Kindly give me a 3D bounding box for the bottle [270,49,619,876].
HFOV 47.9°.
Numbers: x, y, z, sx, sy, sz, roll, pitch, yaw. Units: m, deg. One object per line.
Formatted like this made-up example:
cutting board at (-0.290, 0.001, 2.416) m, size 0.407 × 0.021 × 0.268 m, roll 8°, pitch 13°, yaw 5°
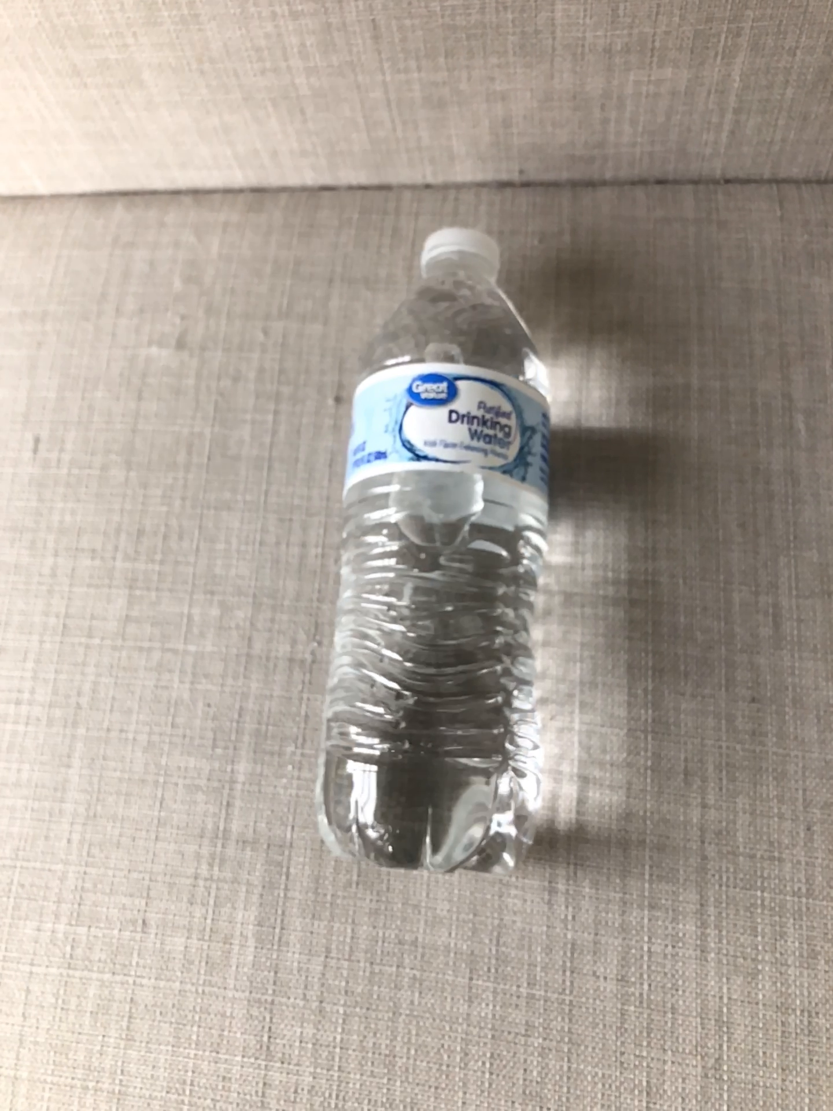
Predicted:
bottle at (0.010, -0.025, 0.295) m, size 0.070 × 0.080 × 0.231 m, roll 10°, pitch 73°, yaw -23°
